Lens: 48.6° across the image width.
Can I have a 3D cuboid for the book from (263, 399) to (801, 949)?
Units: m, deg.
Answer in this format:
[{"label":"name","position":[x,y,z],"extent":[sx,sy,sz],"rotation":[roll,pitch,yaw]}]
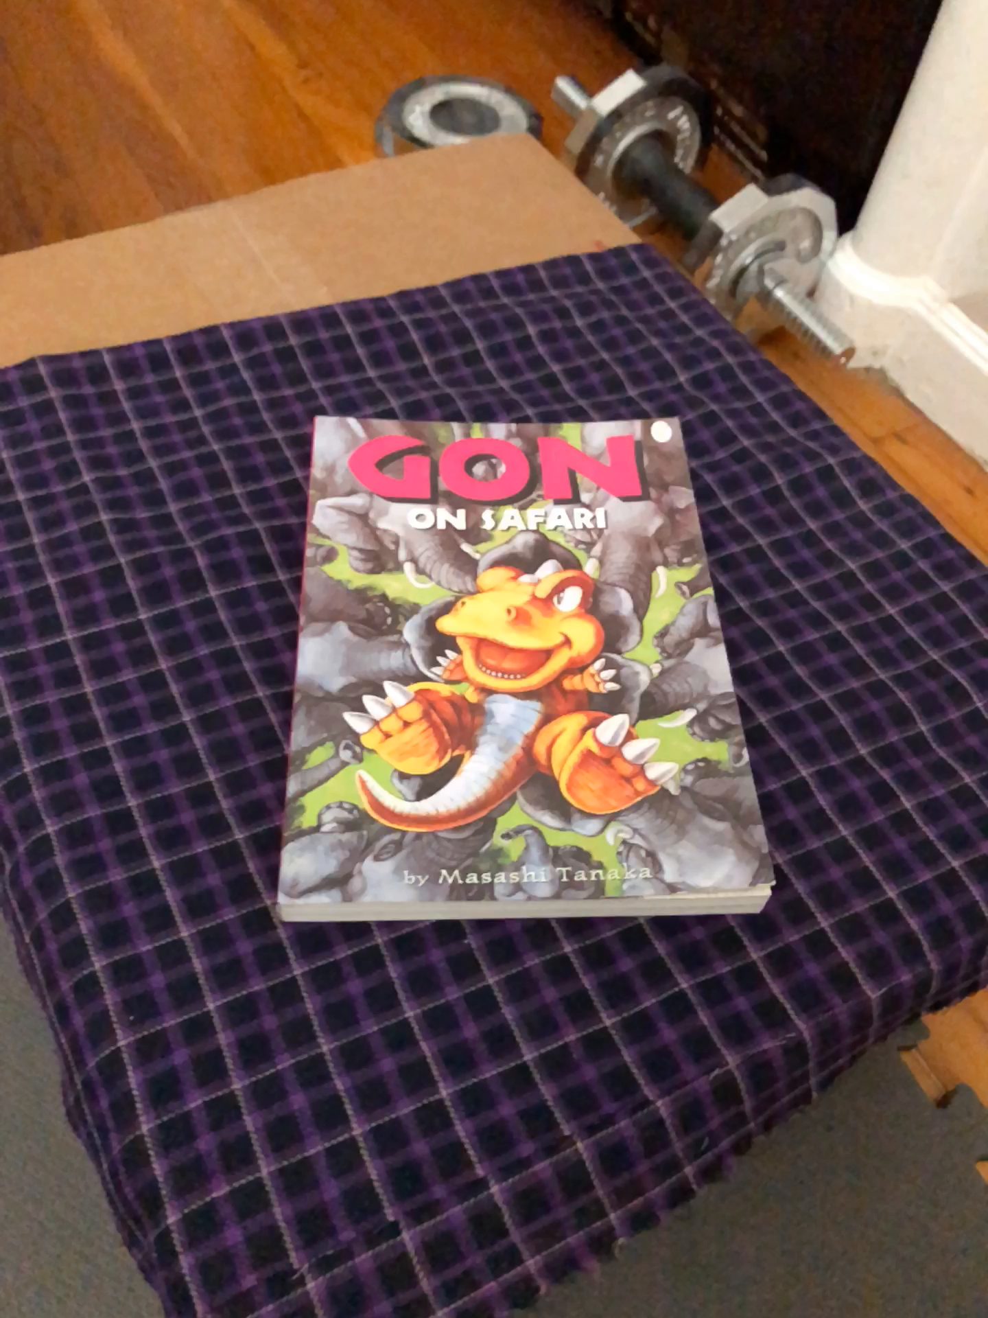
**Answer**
[{"label":"book","position":[0.008,-0.007,0.373],"extent":[0.150,0.020,0.211],"rotation":[1,54,-5]}]
